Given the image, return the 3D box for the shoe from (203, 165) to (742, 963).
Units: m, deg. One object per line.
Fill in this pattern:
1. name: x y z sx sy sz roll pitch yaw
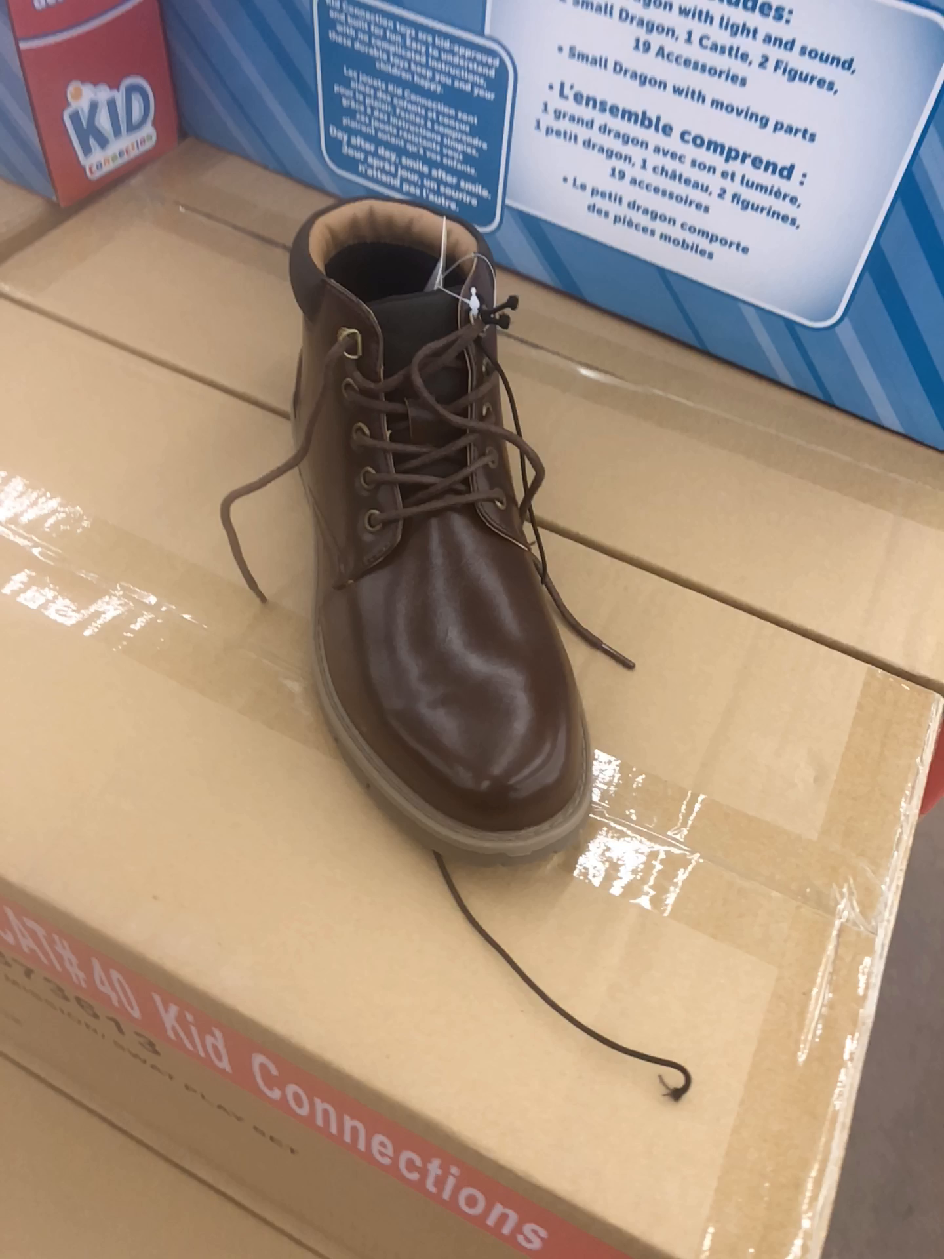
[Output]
1. shoe: -0.025 -0.042 0.441 0.120 0.159 0.291 -10 53 -14
